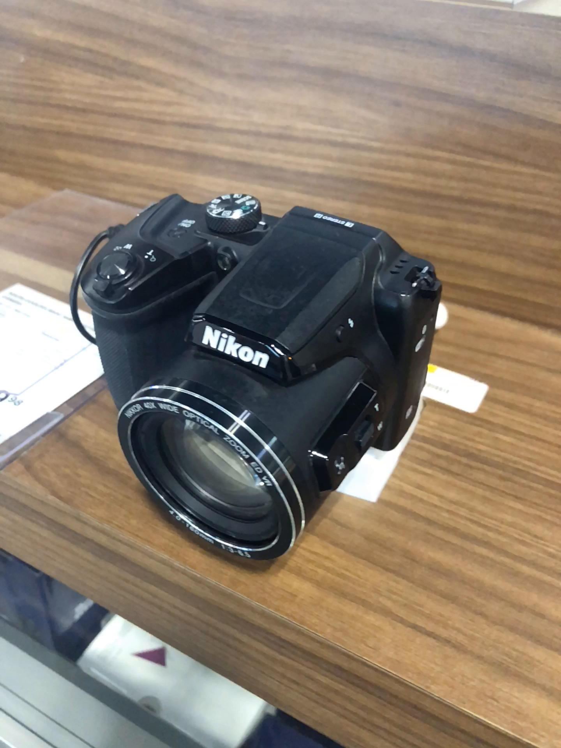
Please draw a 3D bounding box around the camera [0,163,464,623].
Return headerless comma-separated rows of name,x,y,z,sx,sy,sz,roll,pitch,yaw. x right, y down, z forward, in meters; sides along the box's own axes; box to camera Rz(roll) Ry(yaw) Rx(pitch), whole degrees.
camera,-0.016,-0.005,0.204,0.110,0.079,0.096,20,39,21
